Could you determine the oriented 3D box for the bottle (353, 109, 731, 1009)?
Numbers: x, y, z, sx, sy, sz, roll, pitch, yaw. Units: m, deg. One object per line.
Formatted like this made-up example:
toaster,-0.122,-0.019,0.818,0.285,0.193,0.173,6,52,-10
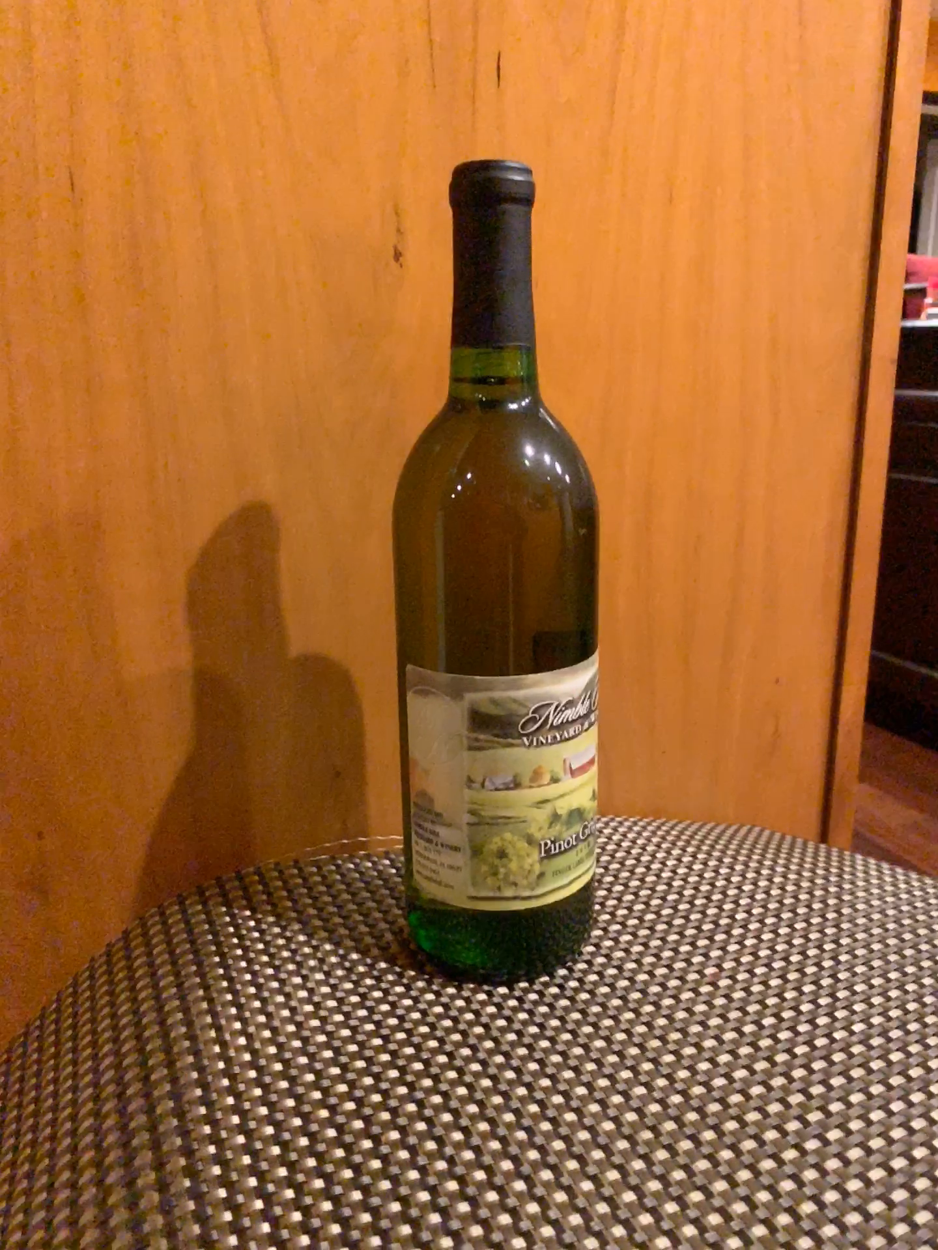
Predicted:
bottle,0.024,-0.020,0.343,0.090,0.269,0.080,-13,19,-39
